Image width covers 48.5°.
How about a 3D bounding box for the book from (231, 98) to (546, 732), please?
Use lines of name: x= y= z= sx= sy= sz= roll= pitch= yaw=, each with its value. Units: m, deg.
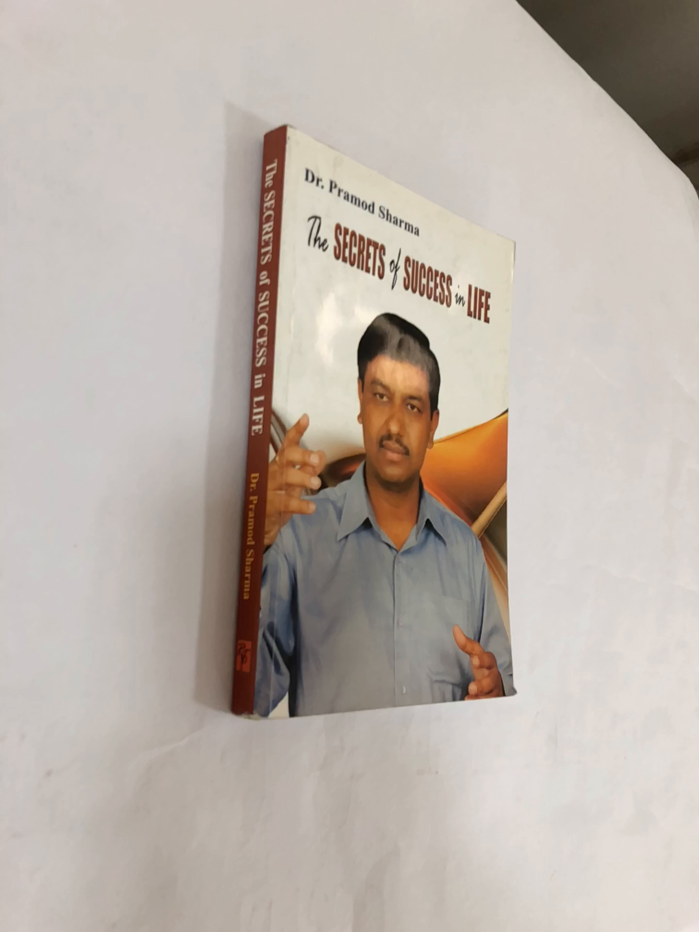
book: x=0.025 y=-0.013 z=0.309 sx=0.151 sy=0.020 sz=0.210 roll=10 pitch=77 yaw=-43
